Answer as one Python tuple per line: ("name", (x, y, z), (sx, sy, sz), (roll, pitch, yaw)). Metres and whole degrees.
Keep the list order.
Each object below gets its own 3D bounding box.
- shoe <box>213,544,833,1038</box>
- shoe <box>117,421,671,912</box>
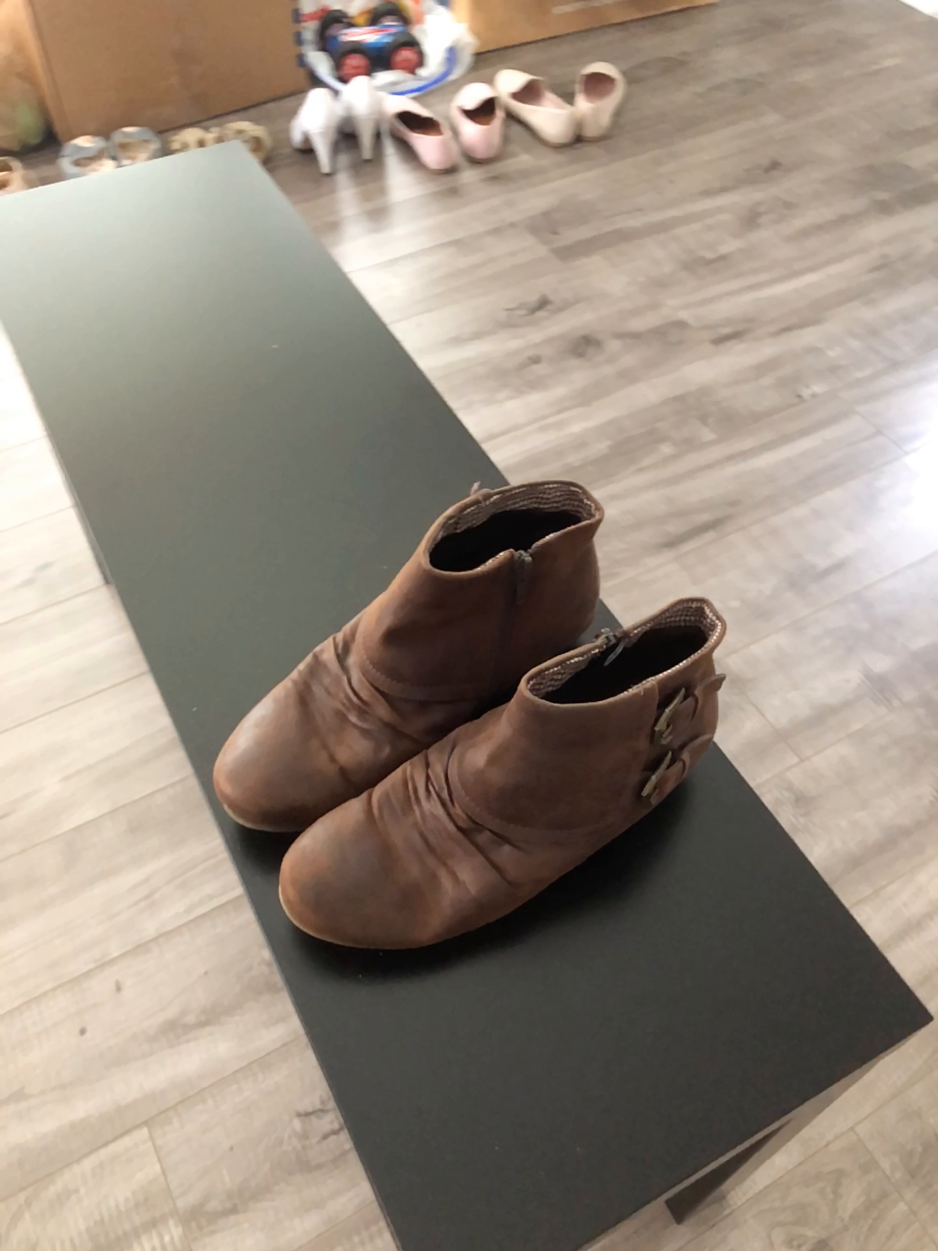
("shoe", (0.024, 0.071, 0.464), (0.240, 0.110, 0.090), (-22, 56, -17))
("shoe", (-0.030, 0.017, 0.519), (0.240, 0.130, 0.090), (-29, 58, -21))
